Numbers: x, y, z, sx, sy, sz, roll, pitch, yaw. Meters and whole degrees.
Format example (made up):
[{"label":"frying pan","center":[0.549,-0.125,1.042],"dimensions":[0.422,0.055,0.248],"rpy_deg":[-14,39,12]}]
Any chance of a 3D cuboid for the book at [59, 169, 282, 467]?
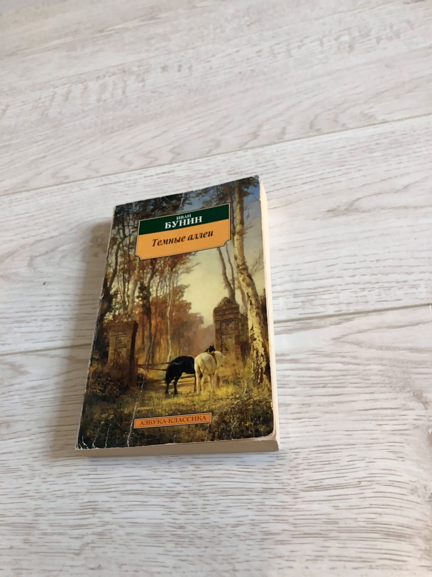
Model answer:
[{"label":"book","center":[-0.024,0.010,0.292],"dimensions":[0.112,0.024,0.177],"rpy_deg":[-8,57,14]}]
